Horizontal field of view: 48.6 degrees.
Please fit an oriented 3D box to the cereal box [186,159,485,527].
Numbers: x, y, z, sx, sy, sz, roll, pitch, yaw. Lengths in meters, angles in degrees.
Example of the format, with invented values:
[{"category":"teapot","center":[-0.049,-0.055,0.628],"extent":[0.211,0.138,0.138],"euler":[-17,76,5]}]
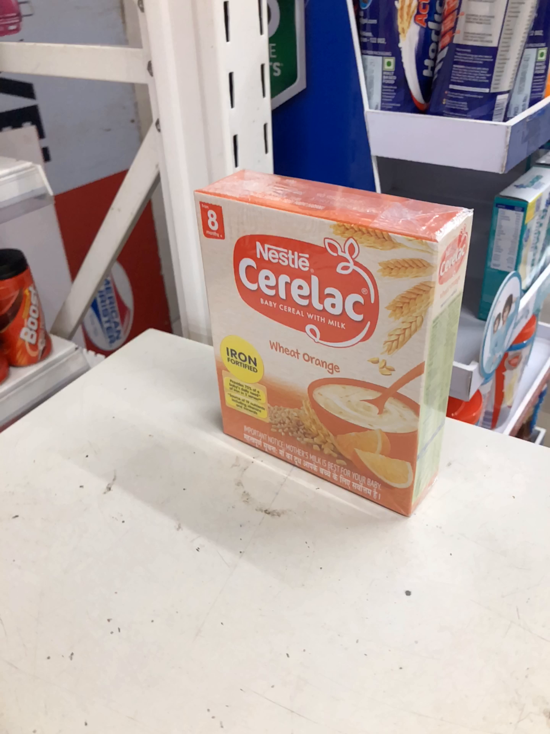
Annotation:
[{"category":"cereal box","center":[0.033,-0.016,0.390],"extent":[0.160,0.199,0.050],"euler":[20,41,31]}]
